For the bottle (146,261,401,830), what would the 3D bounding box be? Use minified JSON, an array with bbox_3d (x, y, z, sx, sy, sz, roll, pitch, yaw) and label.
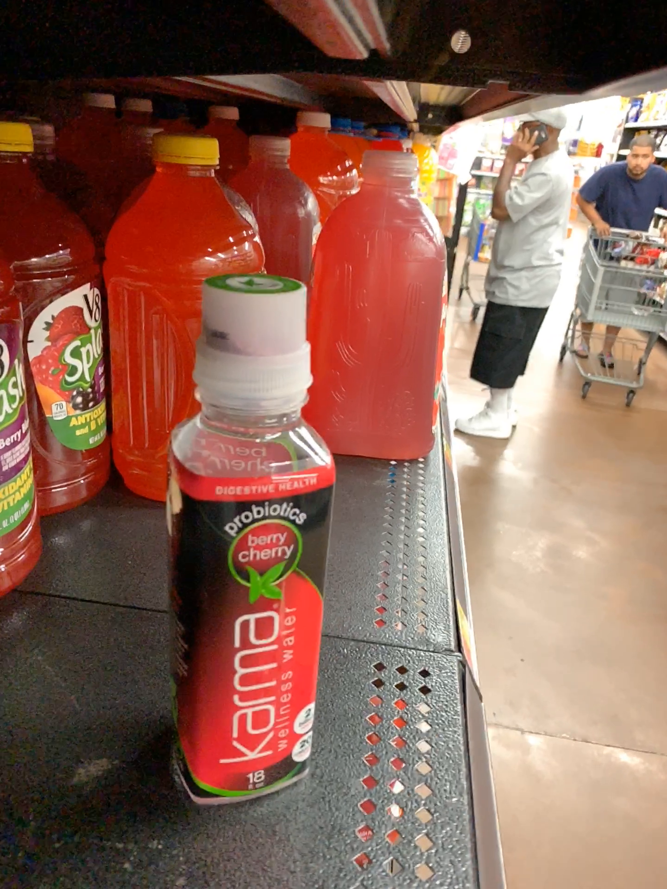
[{"bbox_3d":[-0.034,0.041,0.273,0.068,0.209,0.070,5,24,-2],"label":"bottle"}]
